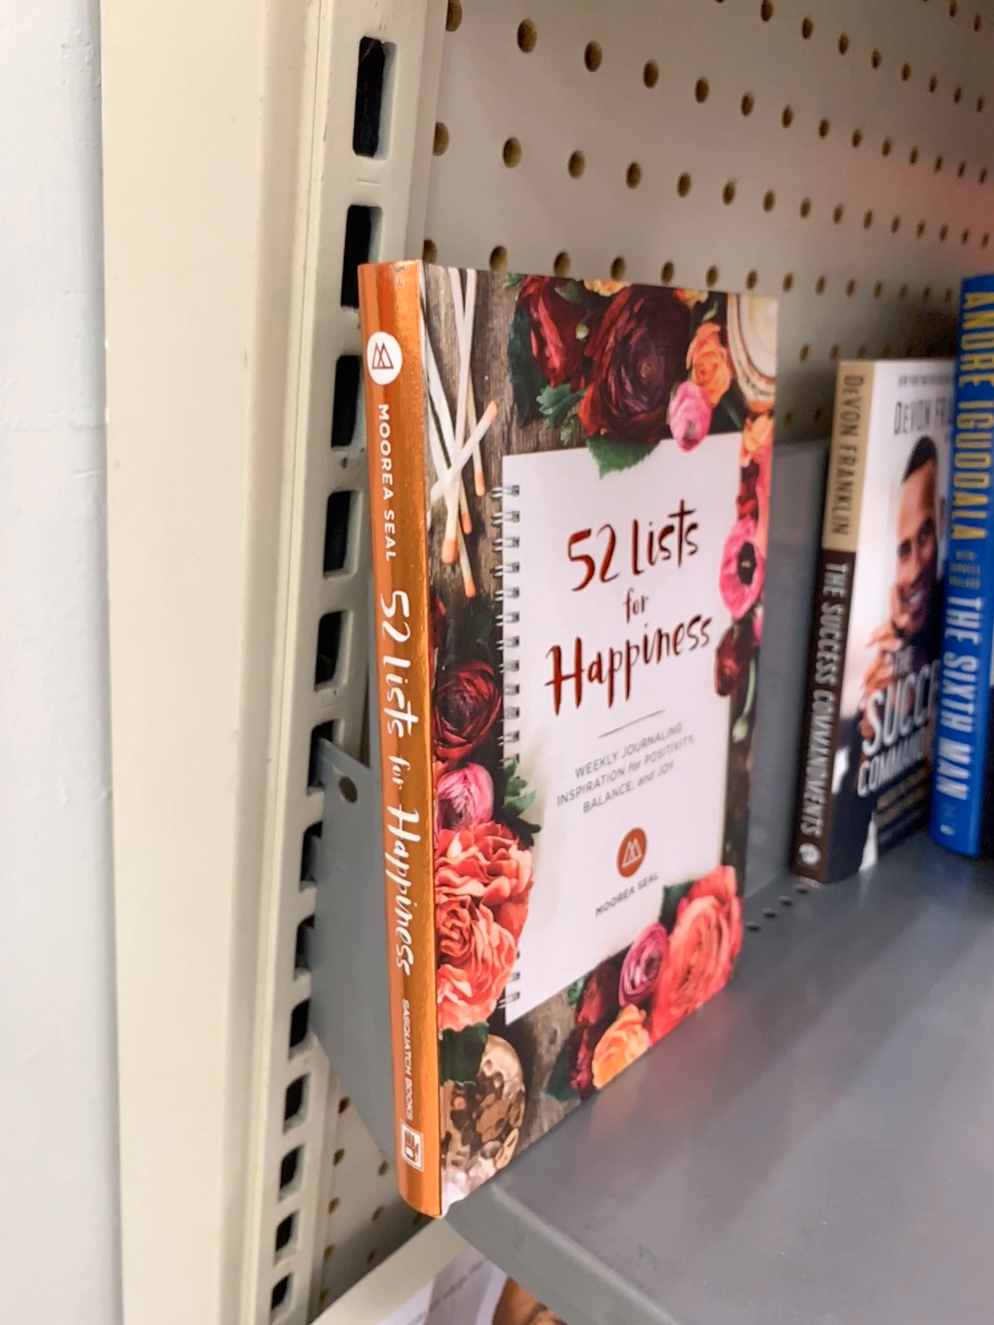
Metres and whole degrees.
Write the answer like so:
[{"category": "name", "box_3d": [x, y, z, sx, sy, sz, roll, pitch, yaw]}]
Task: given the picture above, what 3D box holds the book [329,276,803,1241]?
[{"category": "book", "box_3d": [0.029, 0.015, 0.277, 0.020, 0.216, 0.150, 13, 22, 42]}]
